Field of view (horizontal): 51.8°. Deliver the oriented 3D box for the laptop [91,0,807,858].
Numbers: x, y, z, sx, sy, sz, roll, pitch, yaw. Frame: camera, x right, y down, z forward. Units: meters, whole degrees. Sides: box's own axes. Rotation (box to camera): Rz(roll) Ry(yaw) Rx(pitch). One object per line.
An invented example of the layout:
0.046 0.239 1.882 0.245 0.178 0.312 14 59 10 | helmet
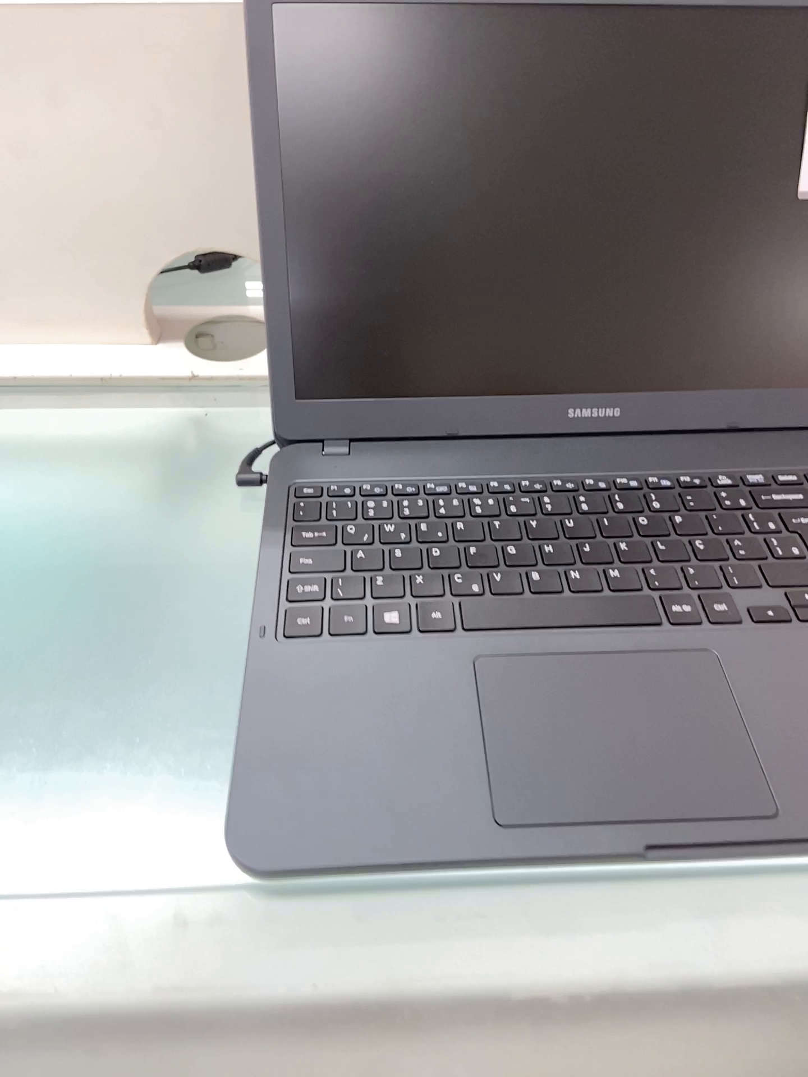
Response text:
0.116 -0.083 0.356 0.363 0.208 0.344 -1 44 -2 | laptop
